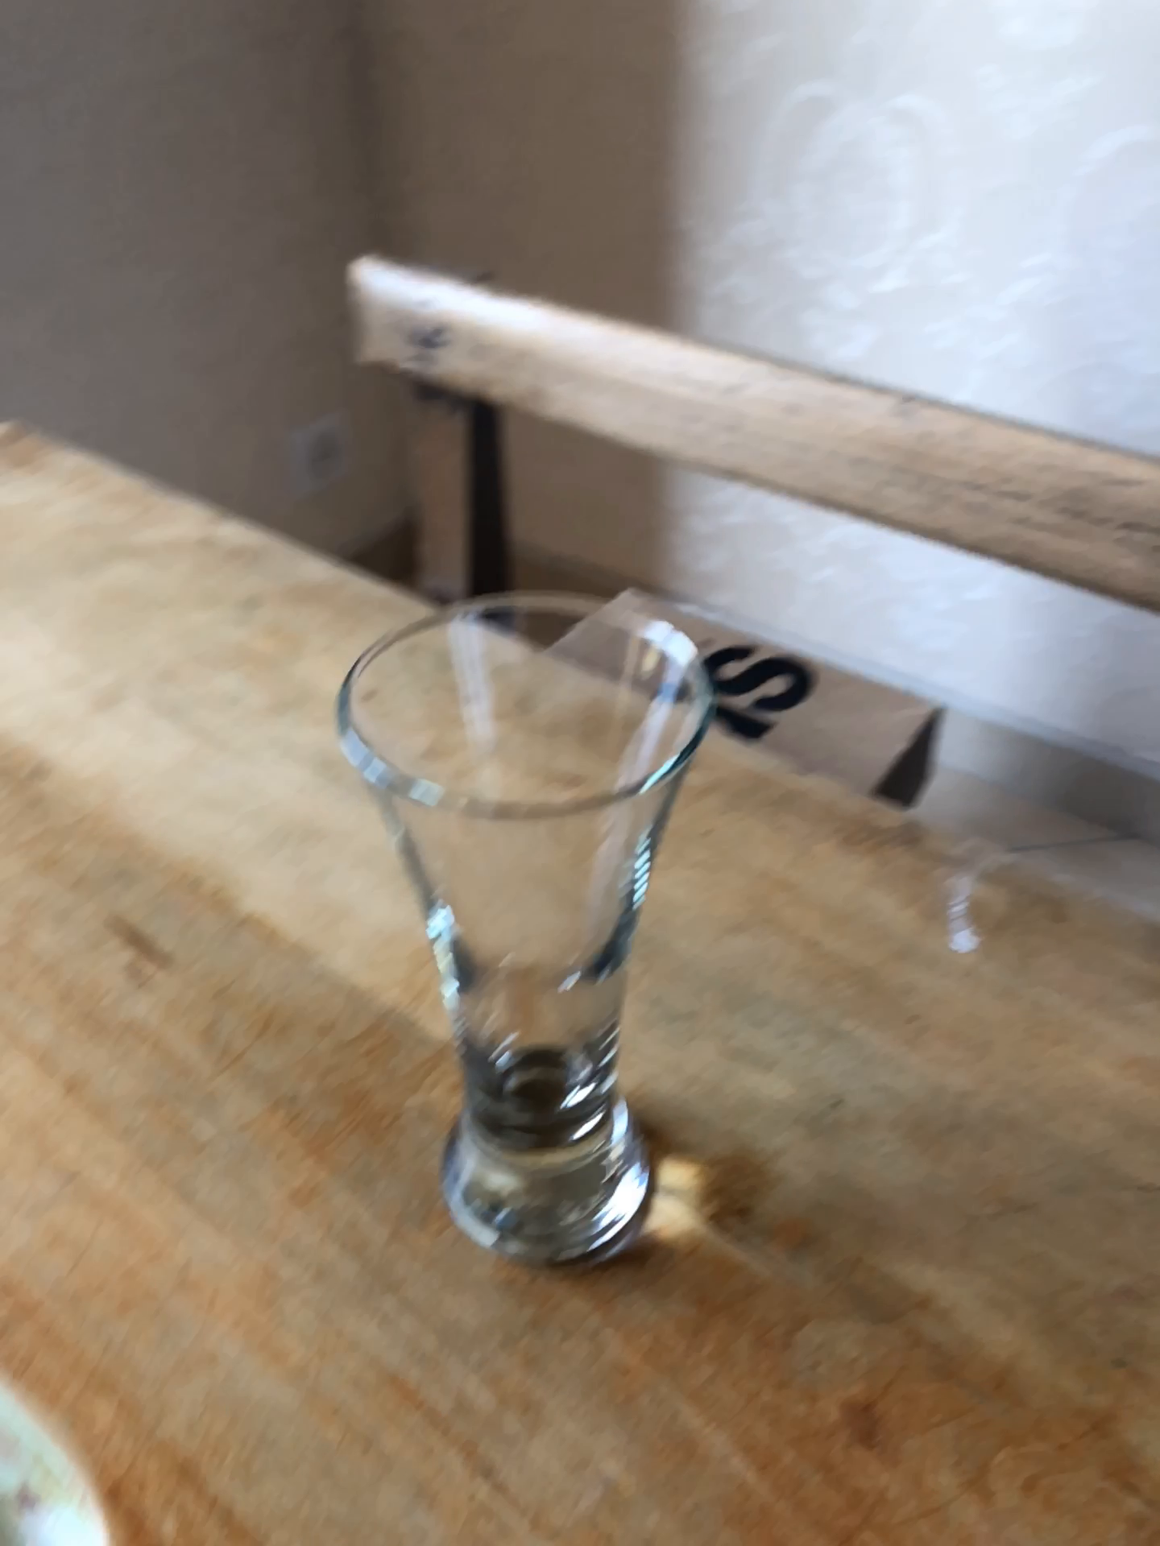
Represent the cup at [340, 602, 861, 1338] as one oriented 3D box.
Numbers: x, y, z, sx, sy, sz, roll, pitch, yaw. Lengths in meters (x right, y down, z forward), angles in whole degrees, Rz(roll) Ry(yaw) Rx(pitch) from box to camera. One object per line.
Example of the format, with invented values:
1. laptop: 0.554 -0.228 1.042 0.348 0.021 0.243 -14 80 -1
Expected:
1. cup: 0.004 0.047 0.271 0.080 0.149 0.070 -1 39 0
